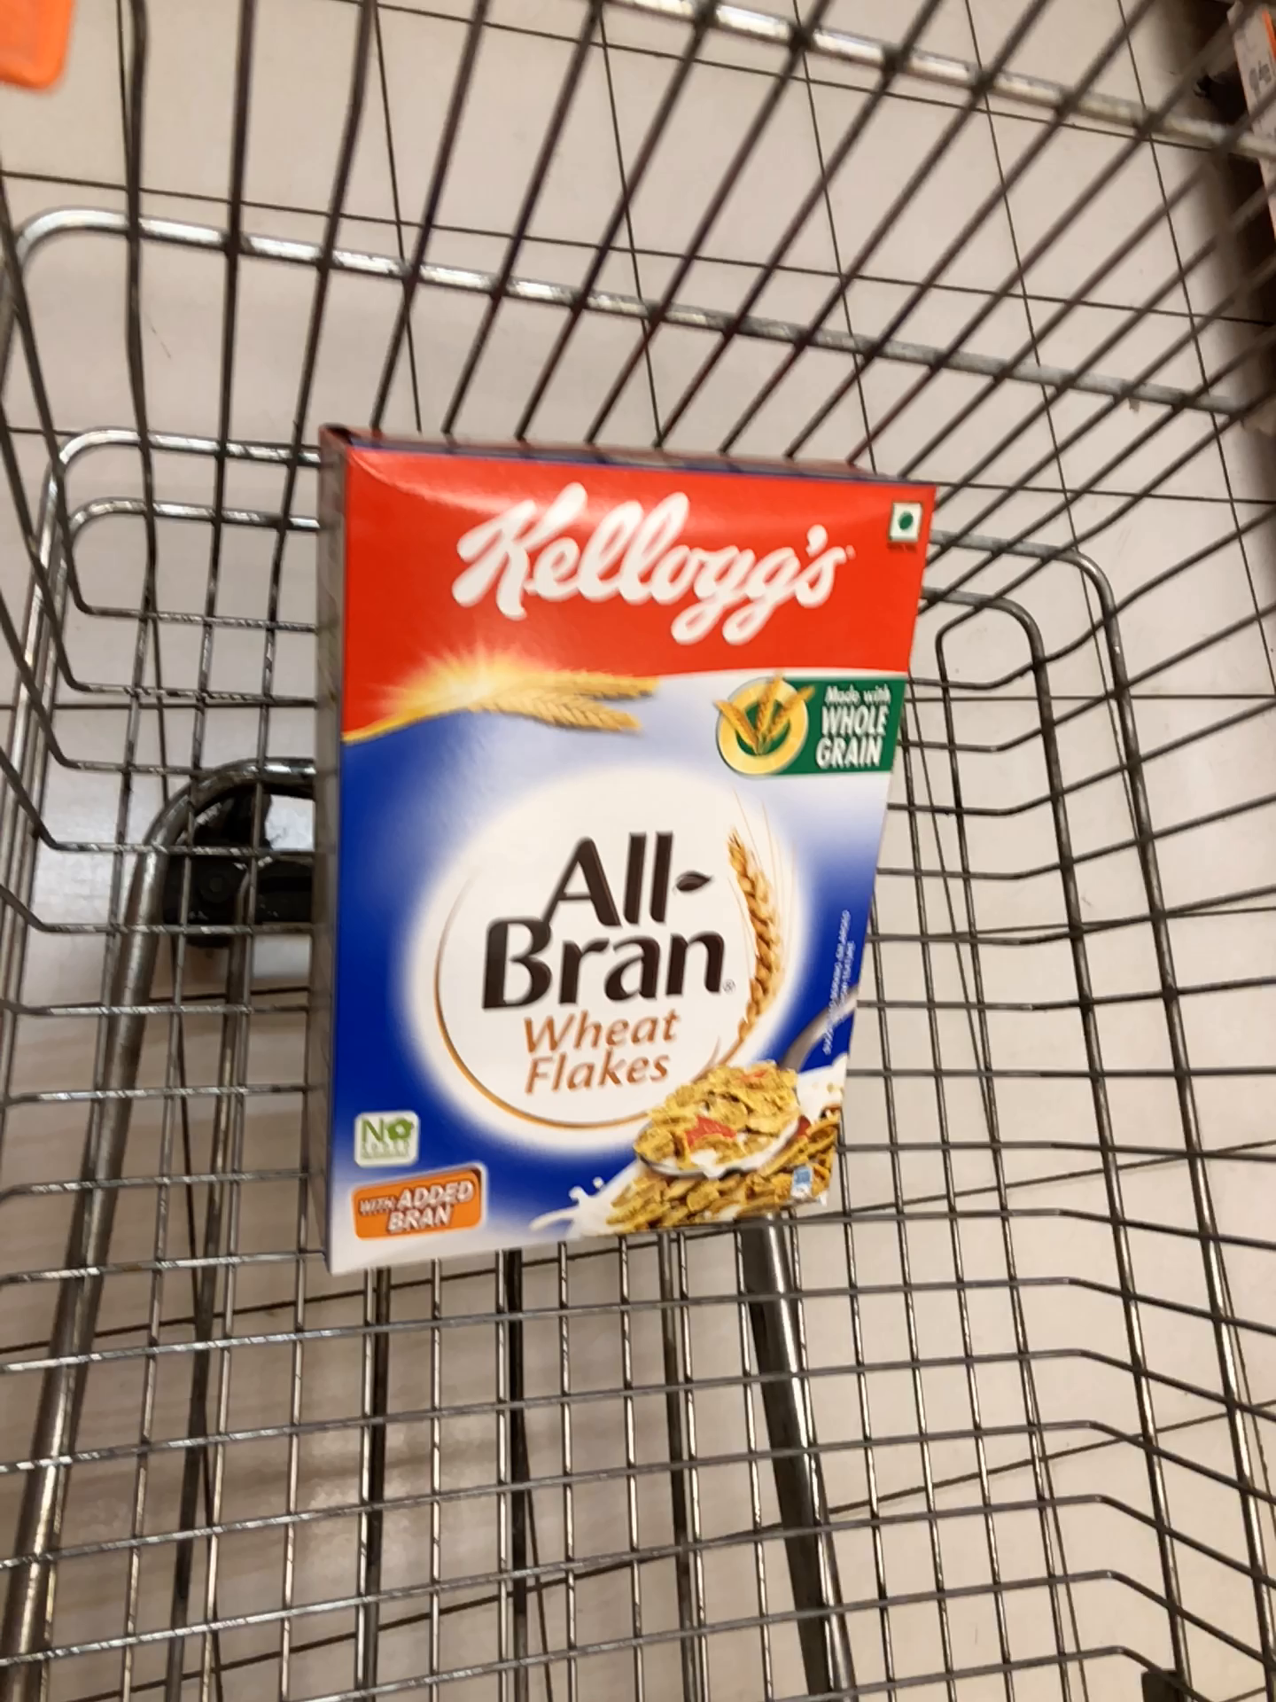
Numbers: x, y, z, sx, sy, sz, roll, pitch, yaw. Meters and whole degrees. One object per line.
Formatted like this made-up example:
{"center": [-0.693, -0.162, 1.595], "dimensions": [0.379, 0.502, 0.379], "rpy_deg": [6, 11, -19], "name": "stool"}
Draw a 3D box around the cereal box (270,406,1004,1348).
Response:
{"center": [-0.013, 0.010, 0.452], "dimensions": [0.190, 0.080, 0.269], "rpy_deg": [-2, 113, -21], "name": "cereal box"}
